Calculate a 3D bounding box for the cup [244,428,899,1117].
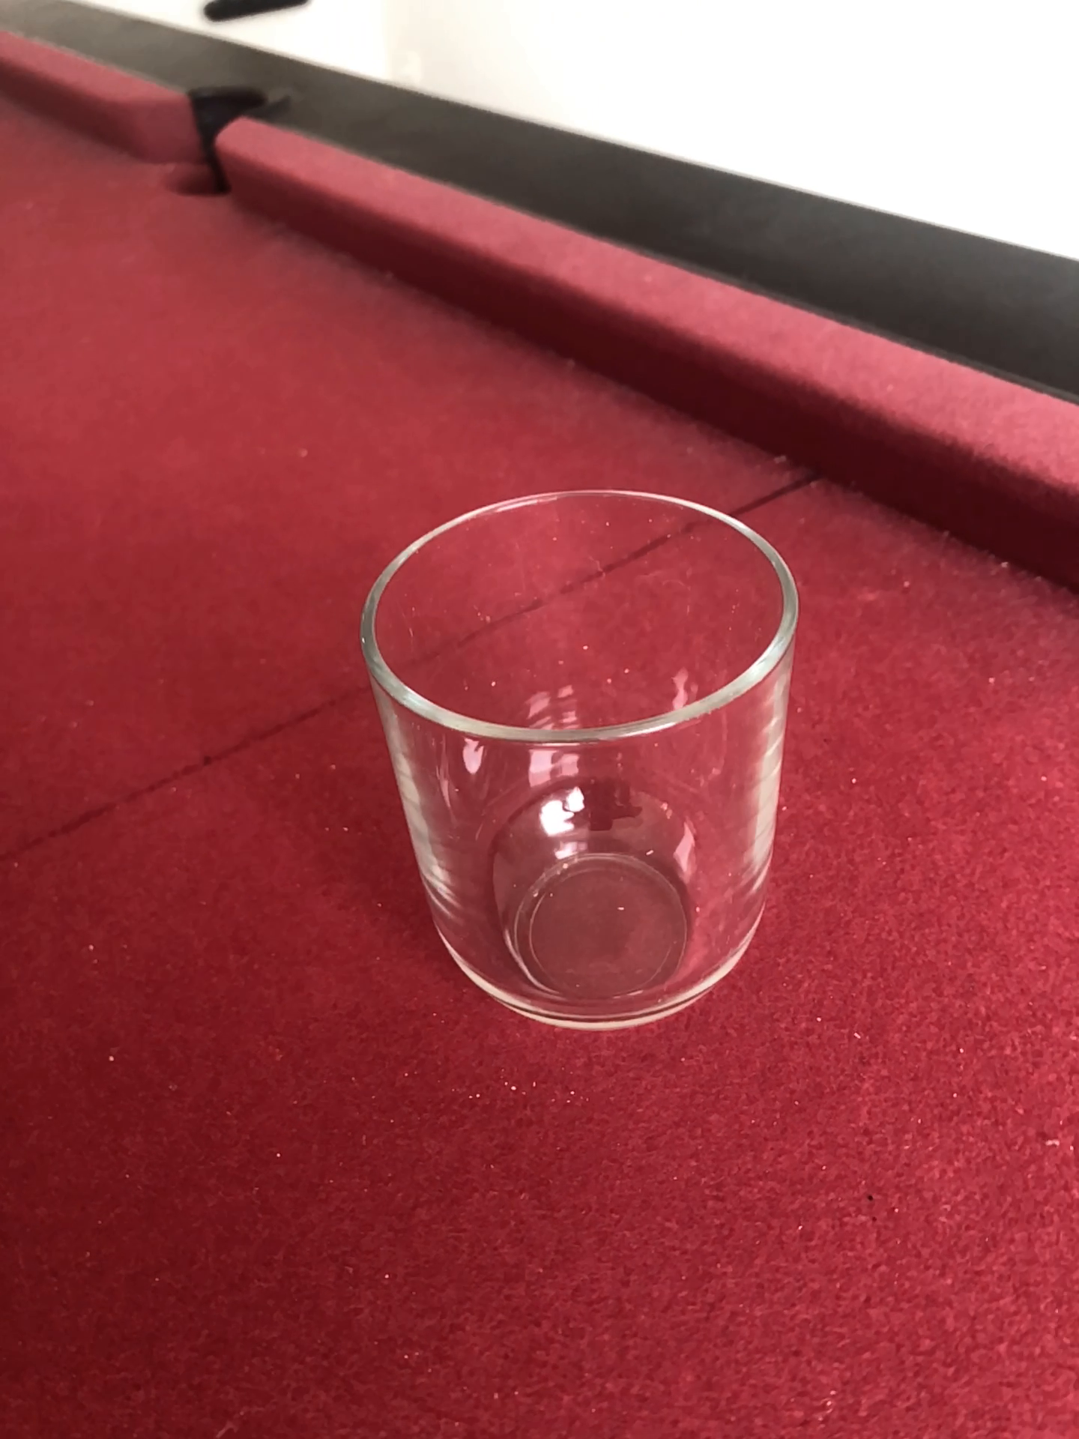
[{"bbox_3d":[0.004,0.004,0.220,0.080,0.070,0.080,-4,39,3],"label":"cup"}]
